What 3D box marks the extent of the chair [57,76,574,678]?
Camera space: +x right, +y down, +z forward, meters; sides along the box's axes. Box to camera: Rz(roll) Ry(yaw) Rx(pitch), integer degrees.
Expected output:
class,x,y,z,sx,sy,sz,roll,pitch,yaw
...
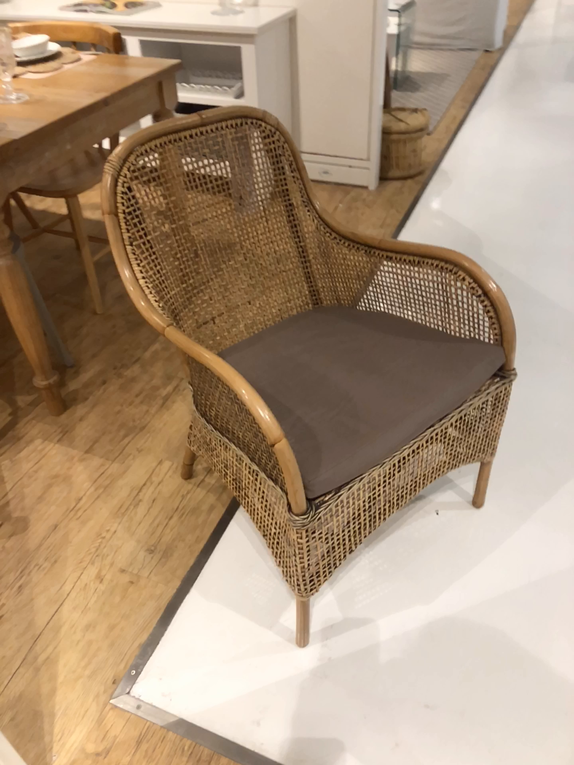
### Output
class,x,y,z,sx,sy,sz,roll,pitch,yaw
chair,0.043,-0.029,1.286,0.542,0.903,0.622,-31,47,-30
